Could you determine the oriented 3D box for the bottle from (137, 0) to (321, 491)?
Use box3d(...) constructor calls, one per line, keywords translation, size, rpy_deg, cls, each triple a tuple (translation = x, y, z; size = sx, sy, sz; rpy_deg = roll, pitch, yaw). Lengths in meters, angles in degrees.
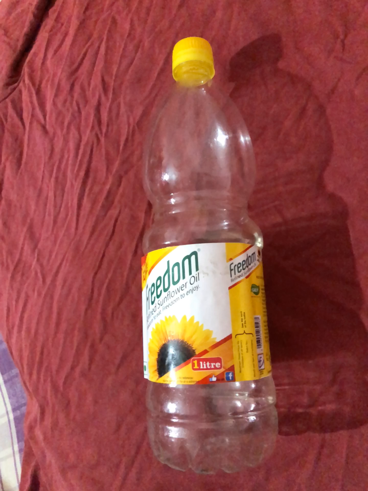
box3d(translation=(0.026, -0.002, 0.251), size=(0.080, 0.060, 0.270), rpy_deg=(-6, 81, 24), cls="bottle")
